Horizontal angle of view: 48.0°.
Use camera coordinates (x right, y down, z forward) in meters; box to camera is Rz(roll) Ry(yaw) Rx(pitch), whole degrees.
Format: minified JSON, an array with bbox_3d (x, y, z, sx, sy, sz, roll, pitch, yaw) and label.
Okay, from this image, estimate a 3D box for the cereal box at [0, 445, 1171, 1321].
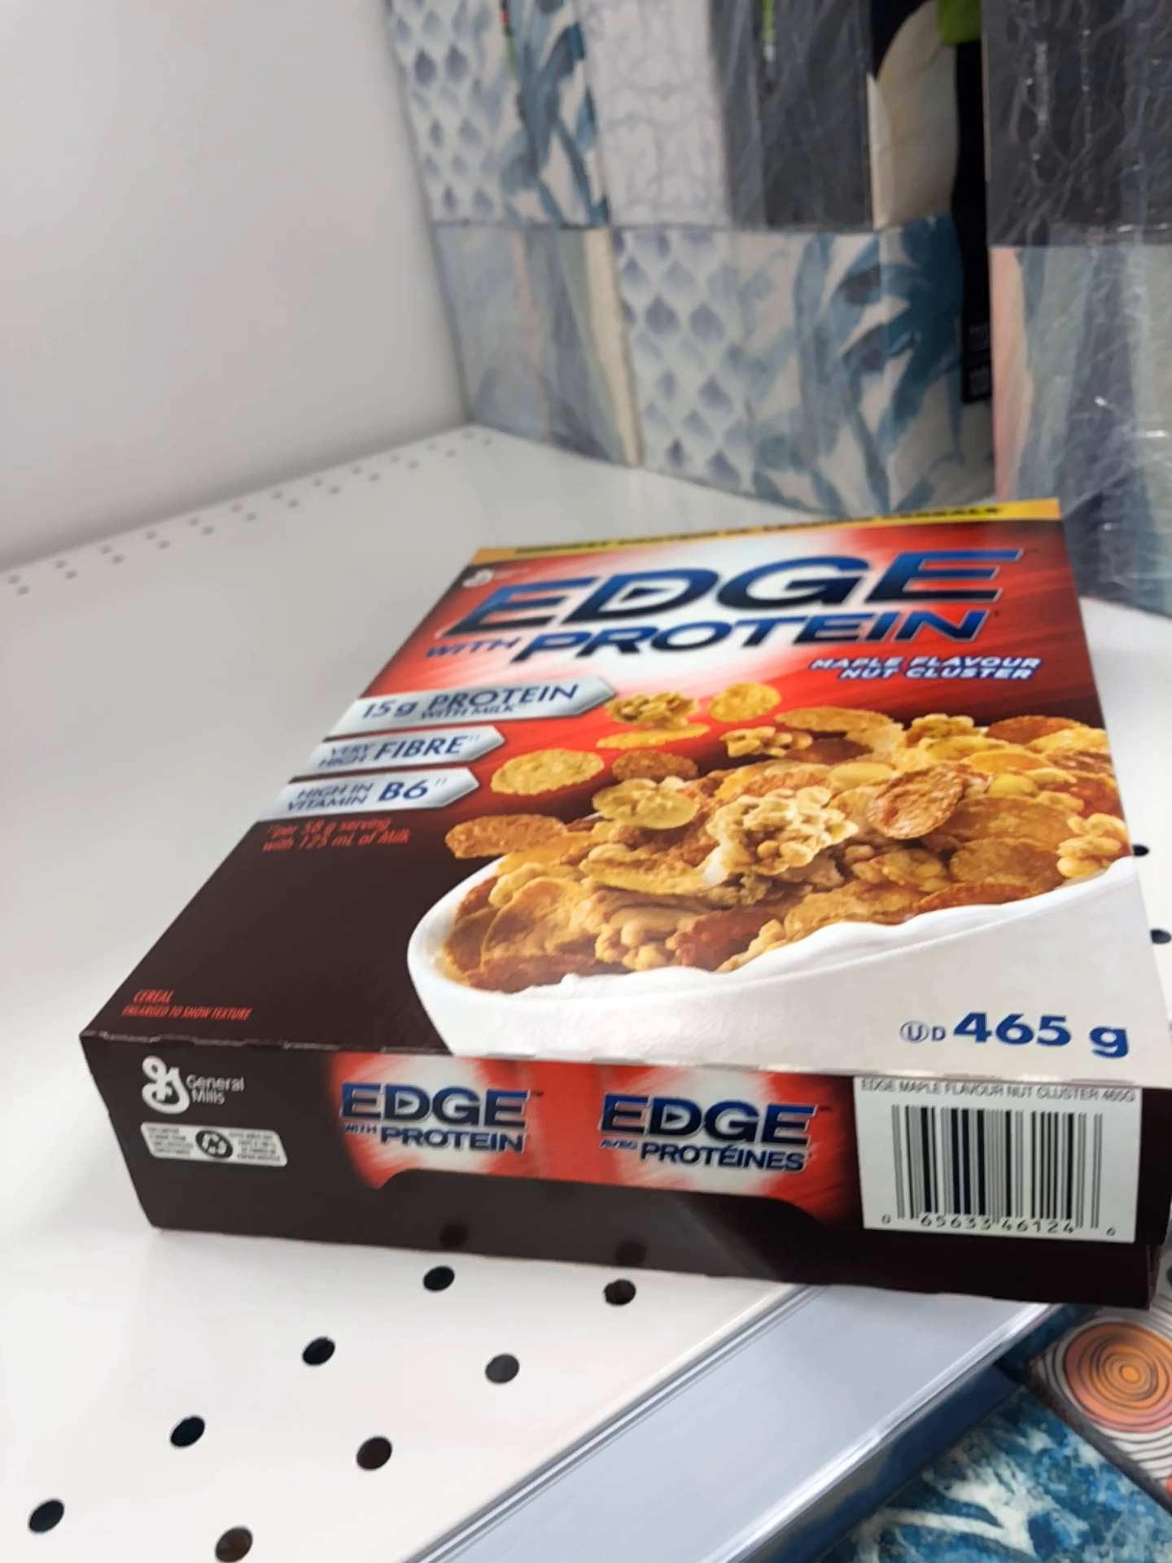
[{"bbox_3d":[0.018,-0.009,0.324,0.220,0.050,0.271,-1,30,16],"label":"cereal box"}]
